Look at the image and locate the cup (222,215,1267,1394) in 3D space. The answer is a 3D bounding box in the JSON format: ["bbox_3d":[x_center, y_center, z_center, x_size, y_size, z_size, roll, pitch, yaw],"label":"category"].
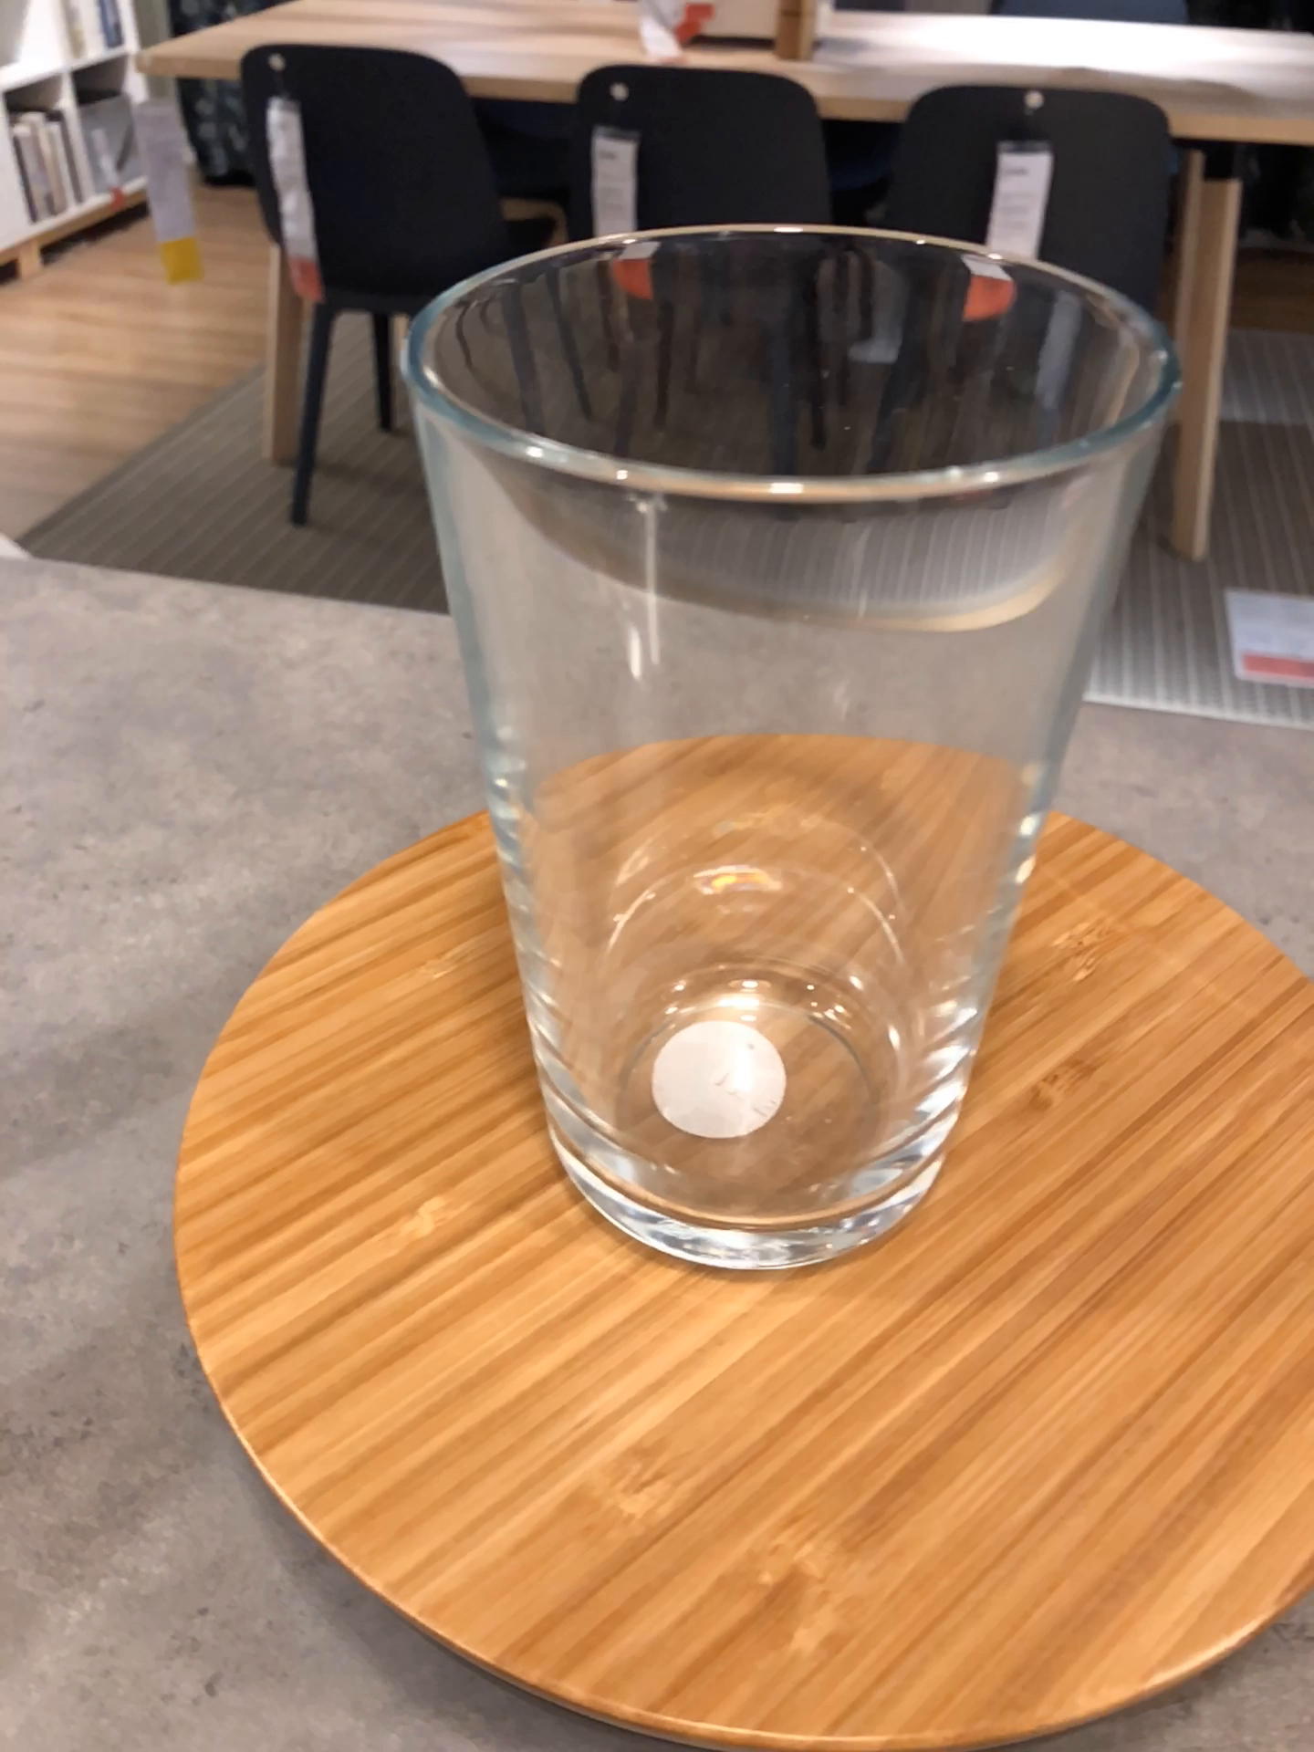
[{"bbox_3d":[0.011,-0.011,0.223,0.100,0.139,0.100,1,37,0],"label":"cup"}]
